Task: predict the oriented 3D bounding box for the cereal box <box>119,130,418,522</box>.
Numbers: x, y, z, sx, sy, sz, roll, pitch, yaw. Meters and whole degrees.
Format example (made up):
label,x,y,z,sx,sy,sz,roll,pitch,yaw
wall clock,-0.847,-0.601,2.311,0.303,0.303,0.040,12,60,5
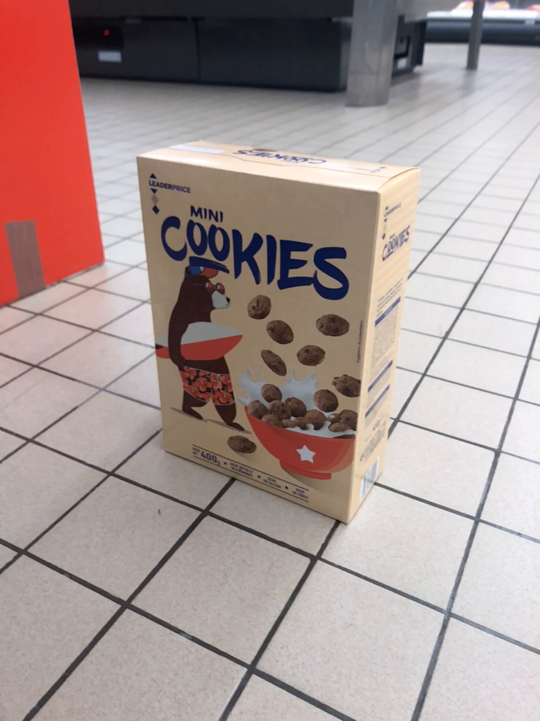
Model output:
label,x,y,z,sx,sy,sz,roll,pitch,yaw
cereal box,-0.003,-0.030,0.497,0.200,0.278,0.081,15,33,25
